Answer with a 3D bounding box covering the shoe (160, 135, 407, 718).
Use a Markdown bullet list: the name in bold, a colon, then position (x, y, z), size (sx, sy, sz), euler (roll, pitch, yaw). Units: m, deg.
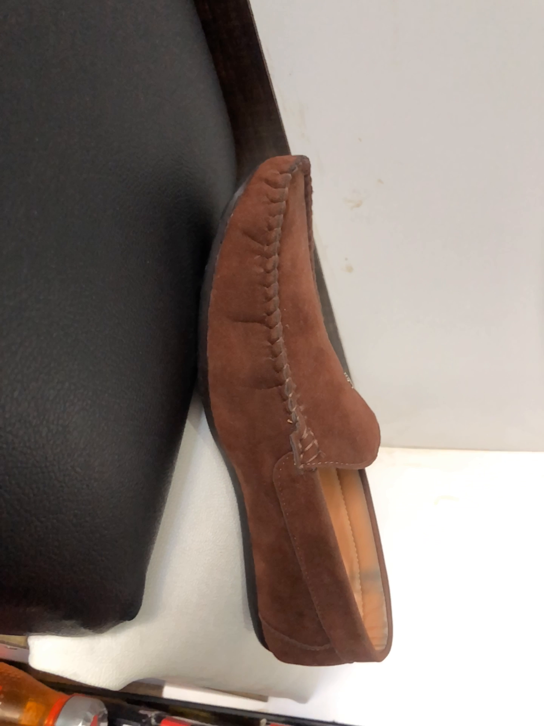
- **shoe**: position (0.028, 0.031, 0.346), size (0.141, 0.080, 0.290), euler (-57, 143, -63)
